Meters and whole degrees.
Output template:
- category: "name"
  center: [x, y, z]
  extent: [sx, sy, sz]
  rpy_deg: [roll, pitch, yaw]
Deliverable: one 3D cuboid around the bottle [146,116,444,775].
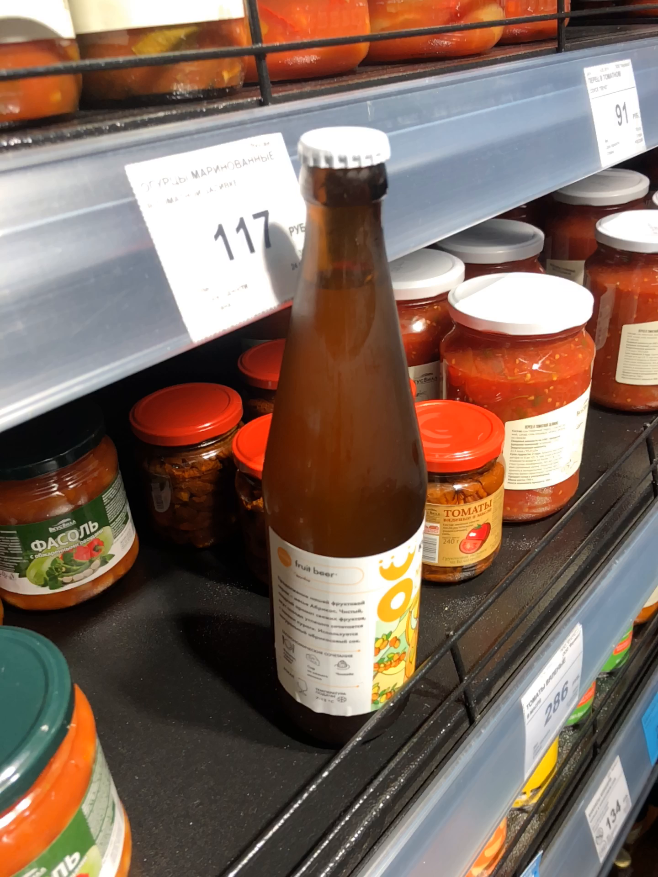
- category: "bottle"
  center: [-0.001, 0.014, 0.282]
  extent: [0.070, 0.248, 0.070]
  rpy_deg: [-2, 31, 1]
